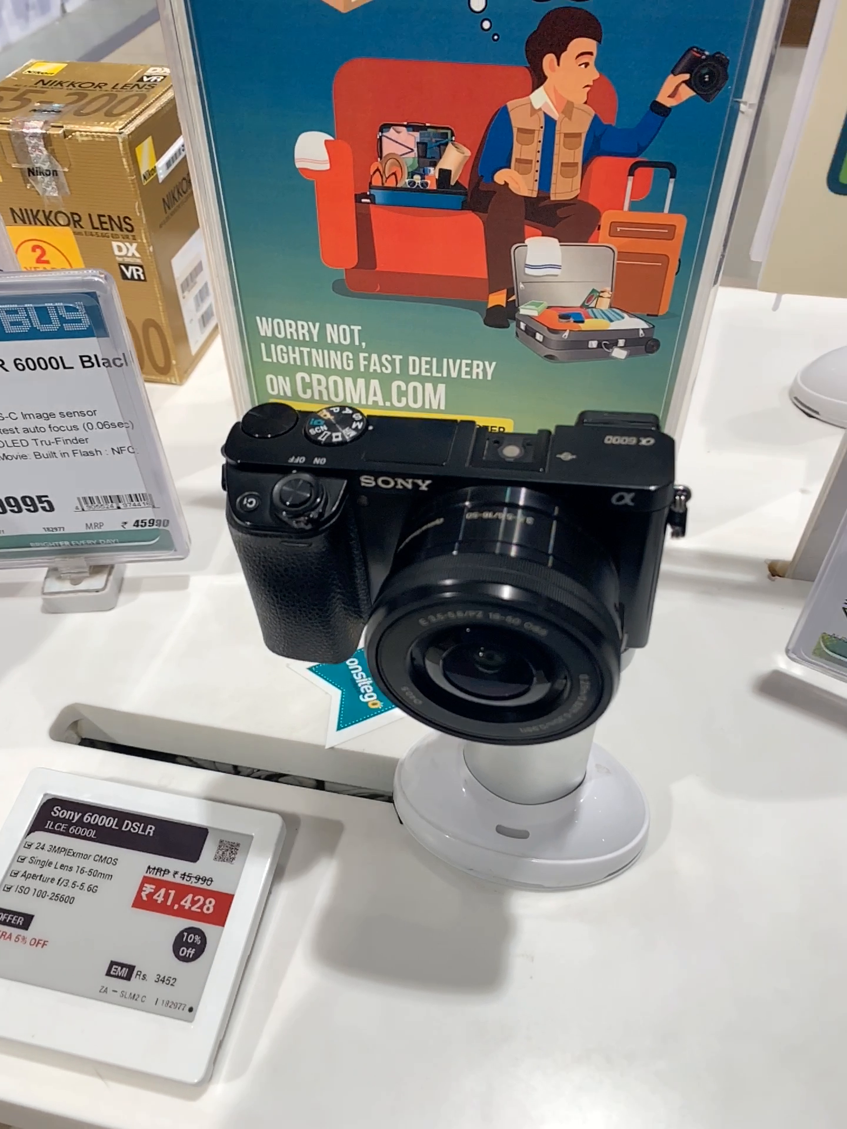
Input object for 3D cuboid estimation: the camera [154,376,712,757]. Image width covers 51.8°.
[{"bbox_3d":[0.004,0.001,0.228,0.118,0.073,0.056,4,45,5],"label":"camera"}]
